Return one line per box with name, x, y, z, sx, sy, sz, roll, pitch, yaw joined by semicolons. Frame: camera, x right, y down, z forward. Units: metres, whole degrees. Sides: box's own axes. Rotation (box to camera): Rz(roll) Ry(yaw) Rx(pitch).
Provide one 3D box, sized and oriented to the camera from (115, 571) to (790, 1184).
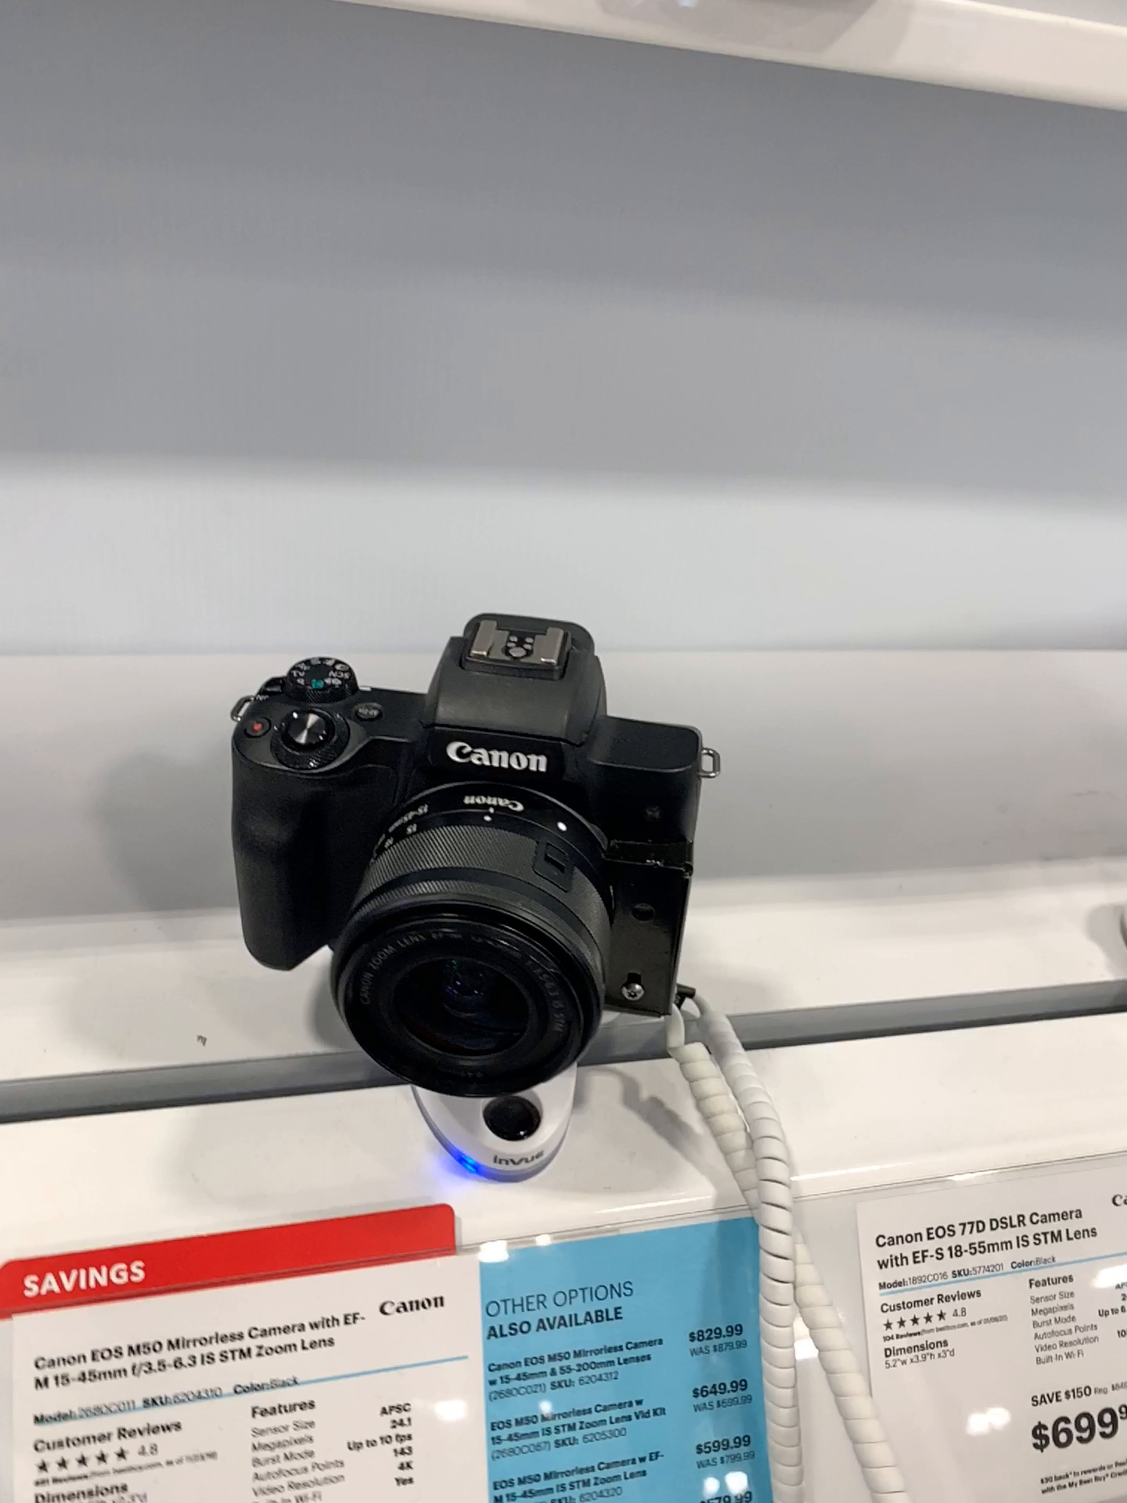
camera;-0.022;0.024;0.277;0.121;0.080;0.111;6;33;-2
